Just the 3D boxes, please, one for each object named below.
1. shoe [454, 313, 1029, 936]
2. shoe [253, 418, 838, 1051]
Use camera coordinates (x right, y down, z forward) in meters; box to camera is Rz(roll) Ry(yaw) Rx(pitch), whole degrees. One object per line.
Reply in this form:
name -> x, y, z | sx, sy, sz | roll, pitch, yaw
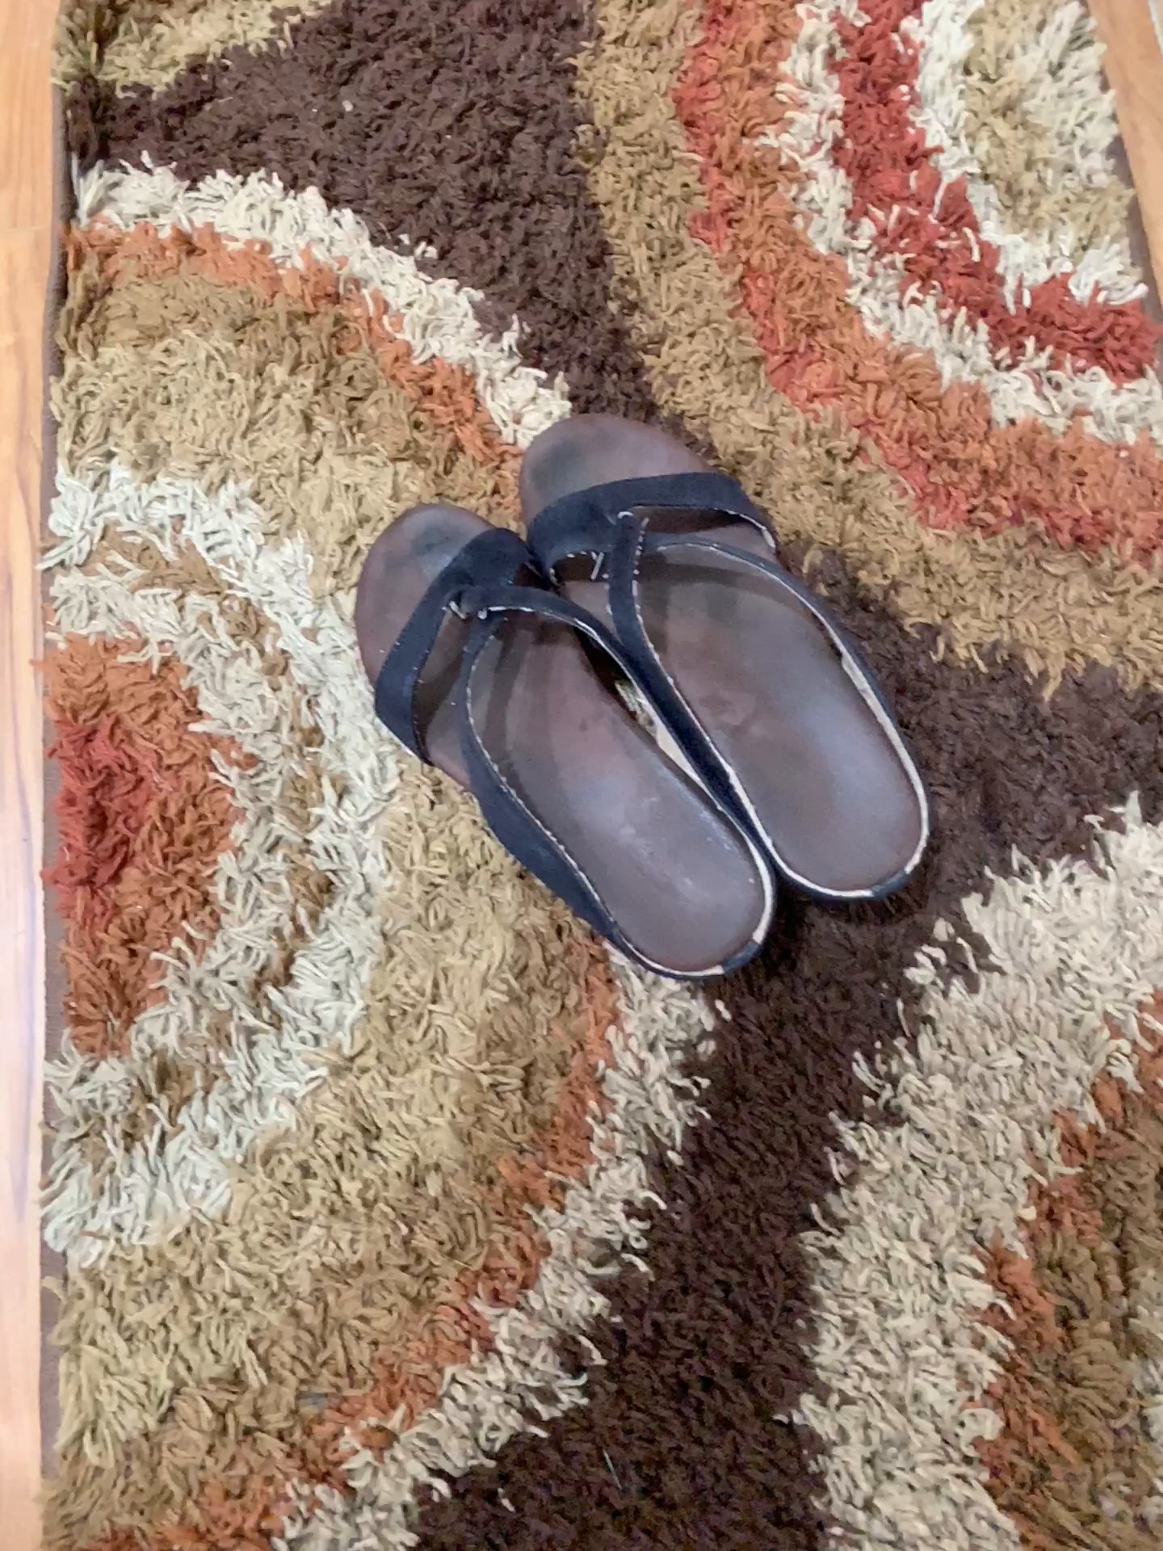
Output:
shoe -> 0.053, -0.057, 0.446 | 0.084, 0.052, 0.223 | -36, 78, -5
shoe -> -0.016, -0.015, 0.447 | 0.090, 0.062, 0.222 | -37, 78, -6
